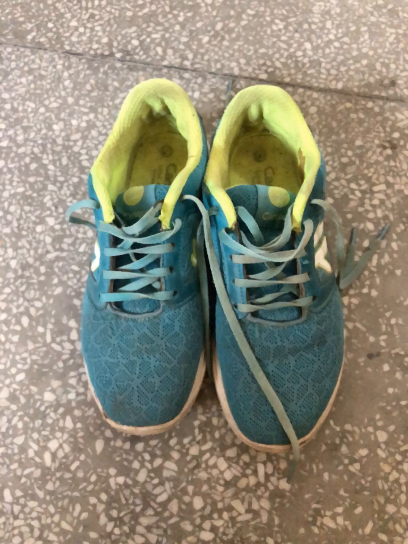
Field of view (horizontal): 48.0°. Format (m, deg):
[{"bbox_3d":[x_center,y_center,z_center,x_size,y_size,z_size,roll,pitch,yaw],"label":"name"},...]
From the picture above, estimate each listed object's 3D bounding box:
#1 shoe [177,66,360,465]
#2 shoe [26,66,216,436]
[{"bbox_3d":[0.038,-0.007,0.321,0.100,0.080,0.250,-1,76,4],"label":"shoe"},{"bbox_3d":[-0.042,-0.016,0.317,0.090,0.080,0.240,1,71,5],"label":"shoe"}]
